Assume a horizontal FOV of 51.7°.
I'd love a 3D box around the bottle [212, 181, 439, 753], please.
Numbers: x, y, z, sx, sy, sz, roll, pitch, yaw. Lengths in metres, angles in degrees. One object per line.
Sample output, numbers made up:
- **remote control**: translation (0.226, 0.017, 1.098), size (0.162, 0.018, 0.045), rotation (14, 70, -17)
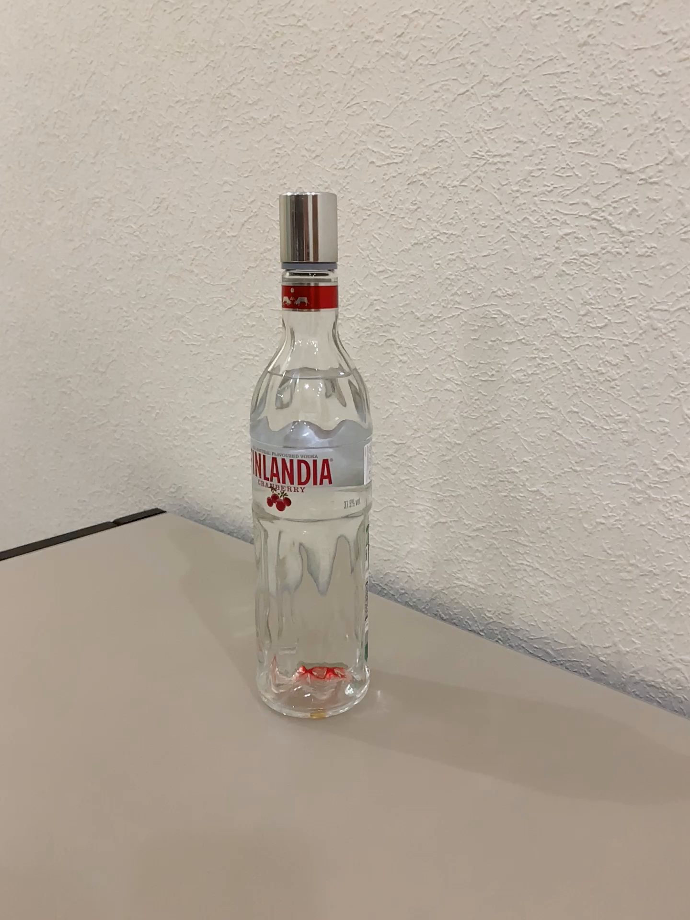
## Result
- **bottle**: translation (-0.010, 0.003, 0.432), size (0.090, 0.309, 0.090), rotation (0, 15, 0)
